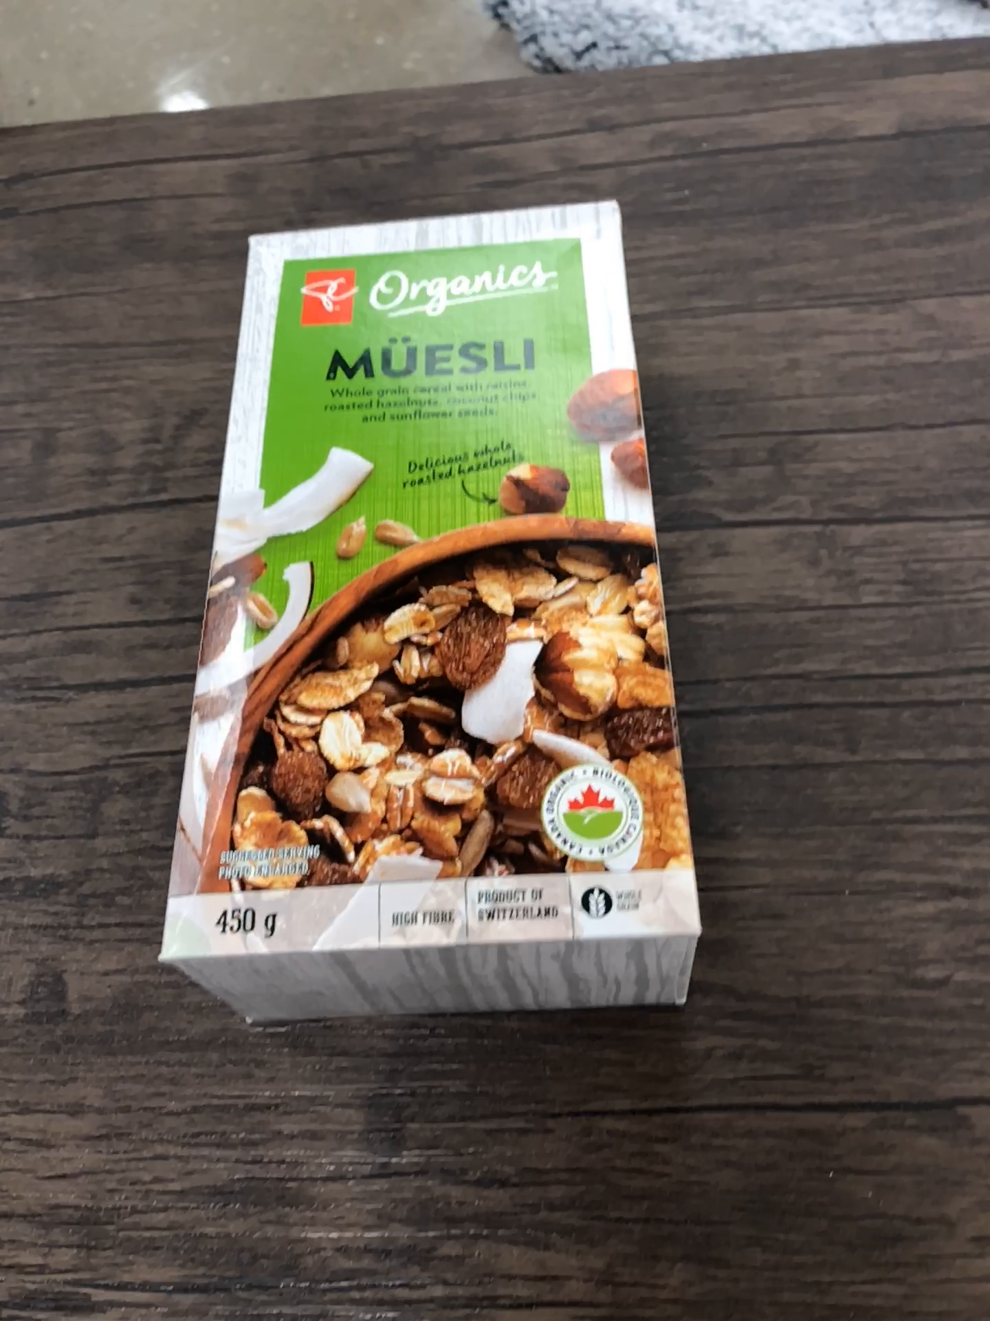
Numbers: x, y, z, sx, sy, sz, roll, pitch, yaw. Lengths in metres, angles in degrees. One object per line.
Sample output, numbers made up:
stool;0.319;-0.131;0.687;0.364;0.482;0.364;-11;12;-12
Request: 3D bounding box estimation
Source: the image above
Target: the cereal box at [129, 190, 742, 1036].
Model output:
cereal box;-0.014;-0.021;0.318;0.130;0.070;0.230;-4;61;4
